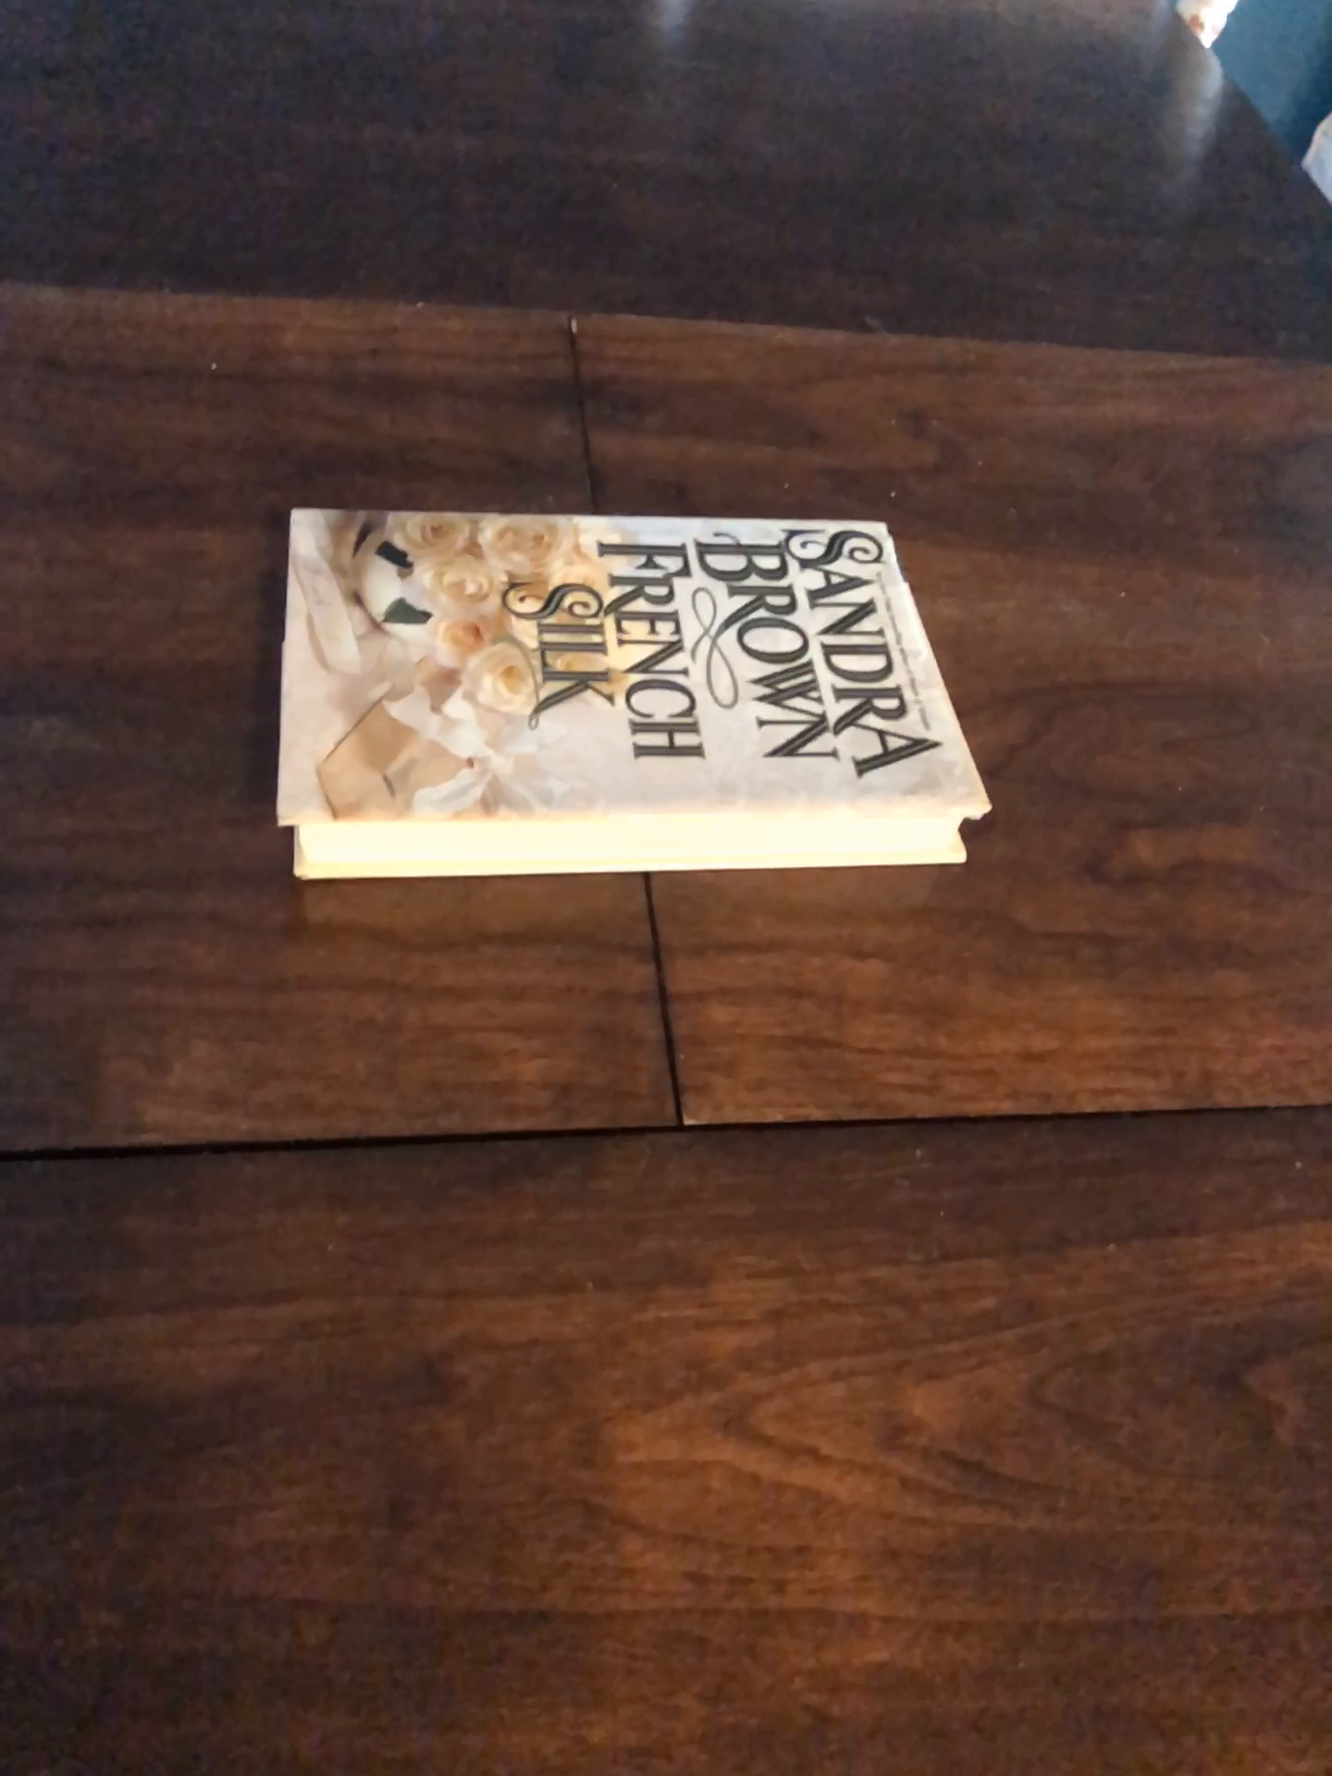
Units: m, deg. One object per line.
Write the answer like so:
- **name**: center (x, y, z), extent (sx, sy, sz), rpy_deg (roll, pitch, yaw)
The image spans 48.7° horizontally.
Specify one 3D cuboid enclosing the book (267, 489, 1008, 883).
- **book**: center (-0.016, -0.078, 0.531), extent (0.240, 0.033, 0.161), rpy_deg (-1, 52, -11)
